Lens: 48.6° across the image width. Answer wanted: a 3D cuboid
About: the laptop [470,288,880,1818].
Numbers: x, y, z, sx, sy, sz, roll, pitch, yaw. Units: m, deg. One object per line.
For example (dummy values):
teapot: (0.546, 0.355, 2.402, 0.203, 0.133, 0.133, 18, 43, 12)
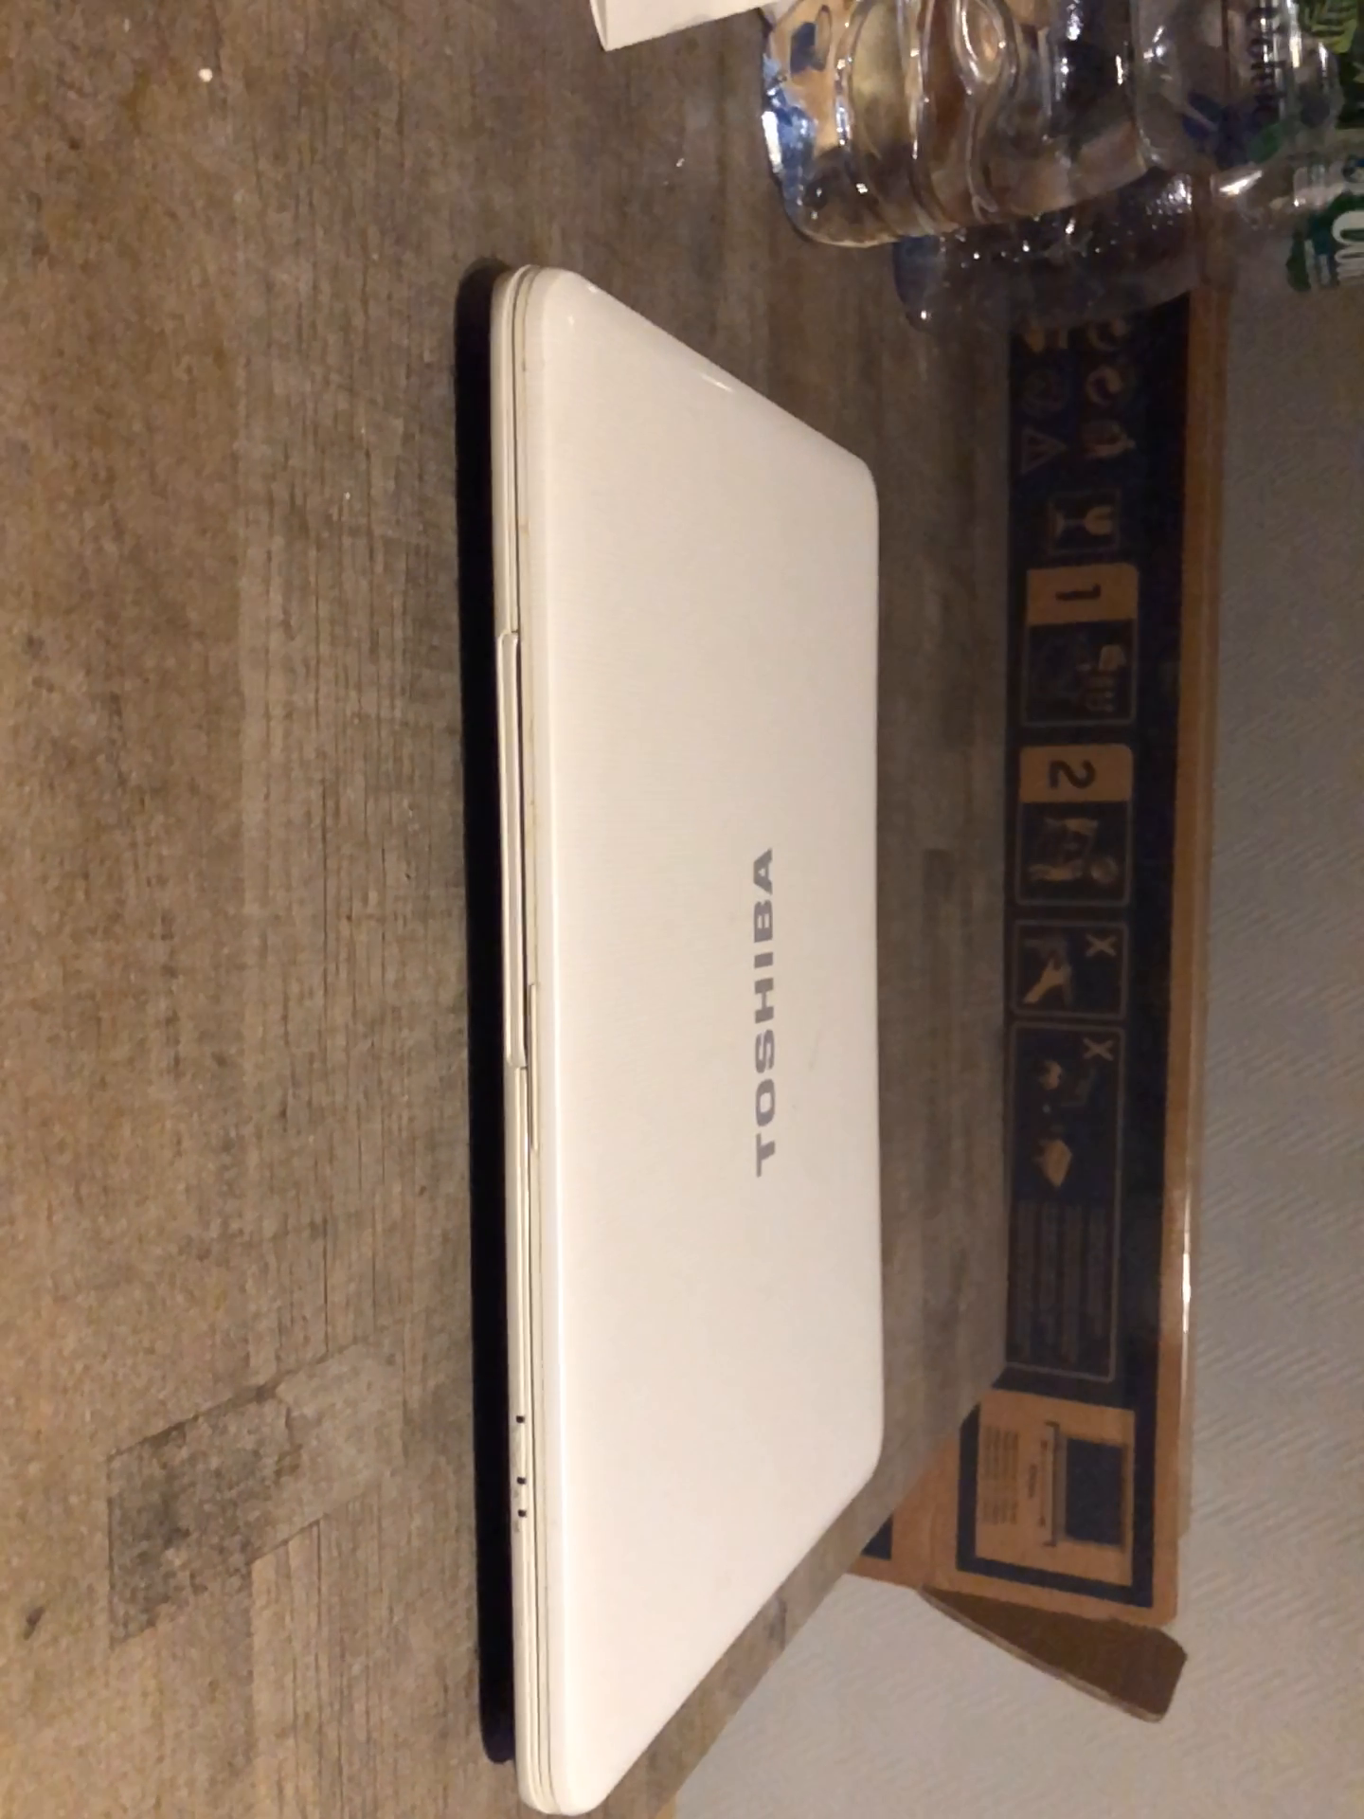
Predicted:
laptop: (0.012, 0.032, 0.473, 0.228, 0.020, 0.375, -6, 96, -63)
